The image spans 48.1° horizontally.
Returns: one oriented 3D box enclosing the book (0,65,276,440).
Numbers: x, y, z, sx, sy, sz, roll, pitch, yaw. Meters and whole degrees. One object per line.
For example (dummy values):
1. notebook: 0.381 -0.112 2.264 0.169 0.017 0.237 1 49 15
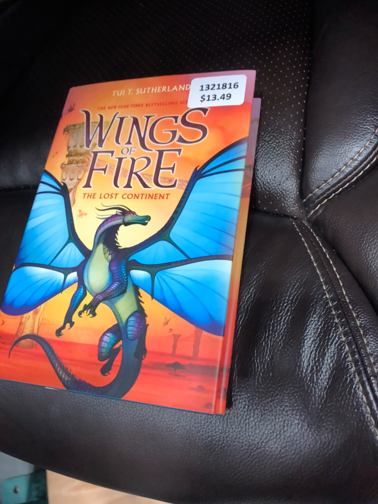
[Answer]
1. book: -0.032 -0.014 0.265 0.148 0.030 0.218 3 69 19
